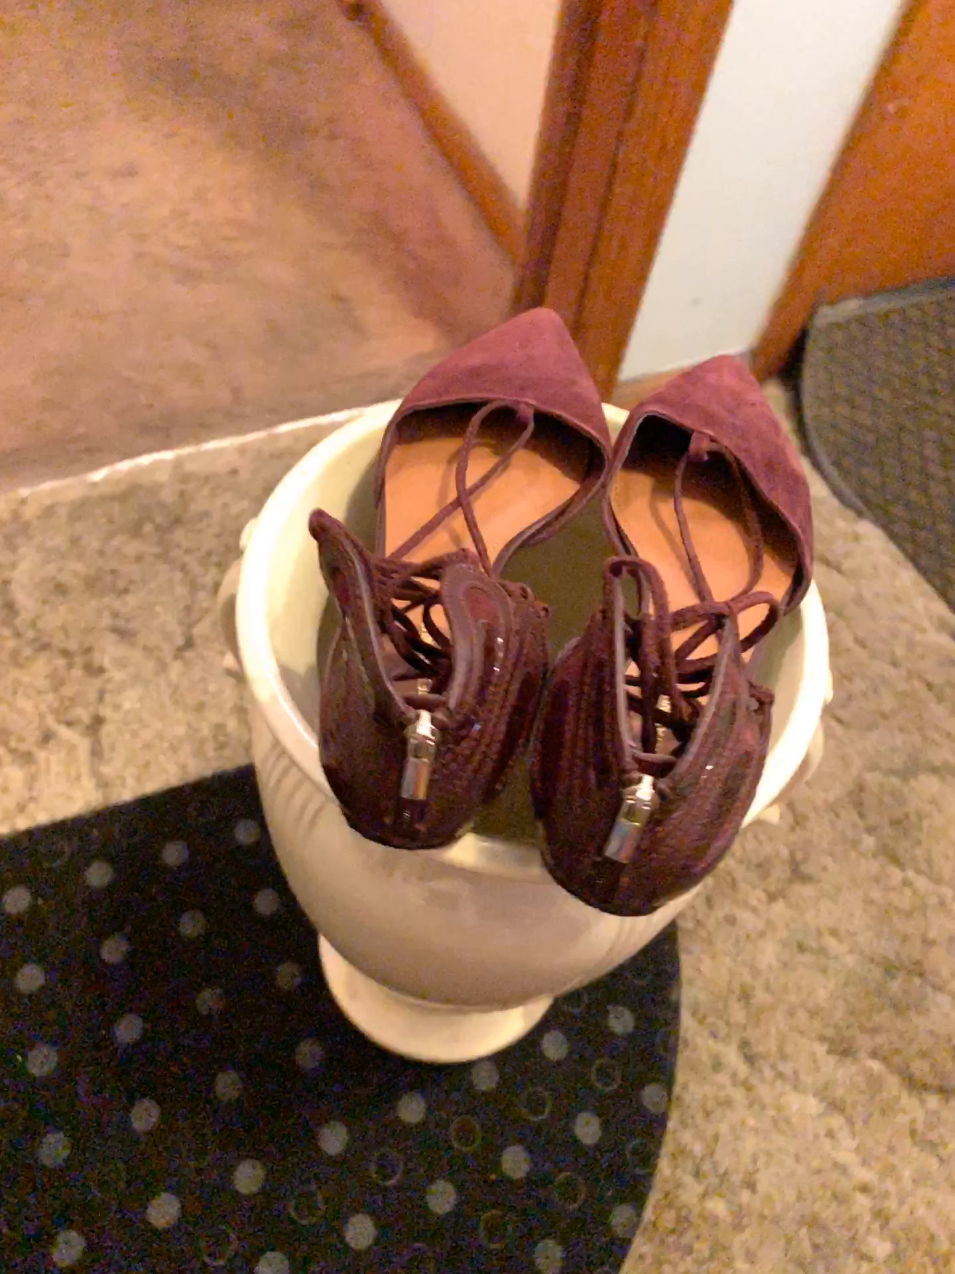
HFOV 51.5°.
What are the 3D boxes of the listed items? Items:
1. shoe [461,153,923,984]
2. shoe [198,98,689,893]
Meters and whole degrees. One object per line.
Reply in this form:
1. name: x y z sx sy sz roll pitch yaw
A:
1. shoe: 0.079 -0.036 0.338 0.092 0.099 0.262 17 57 3
2. shoe: 0.001 -0.062 0.348 0.092 0.099 0.262 14 57 1
